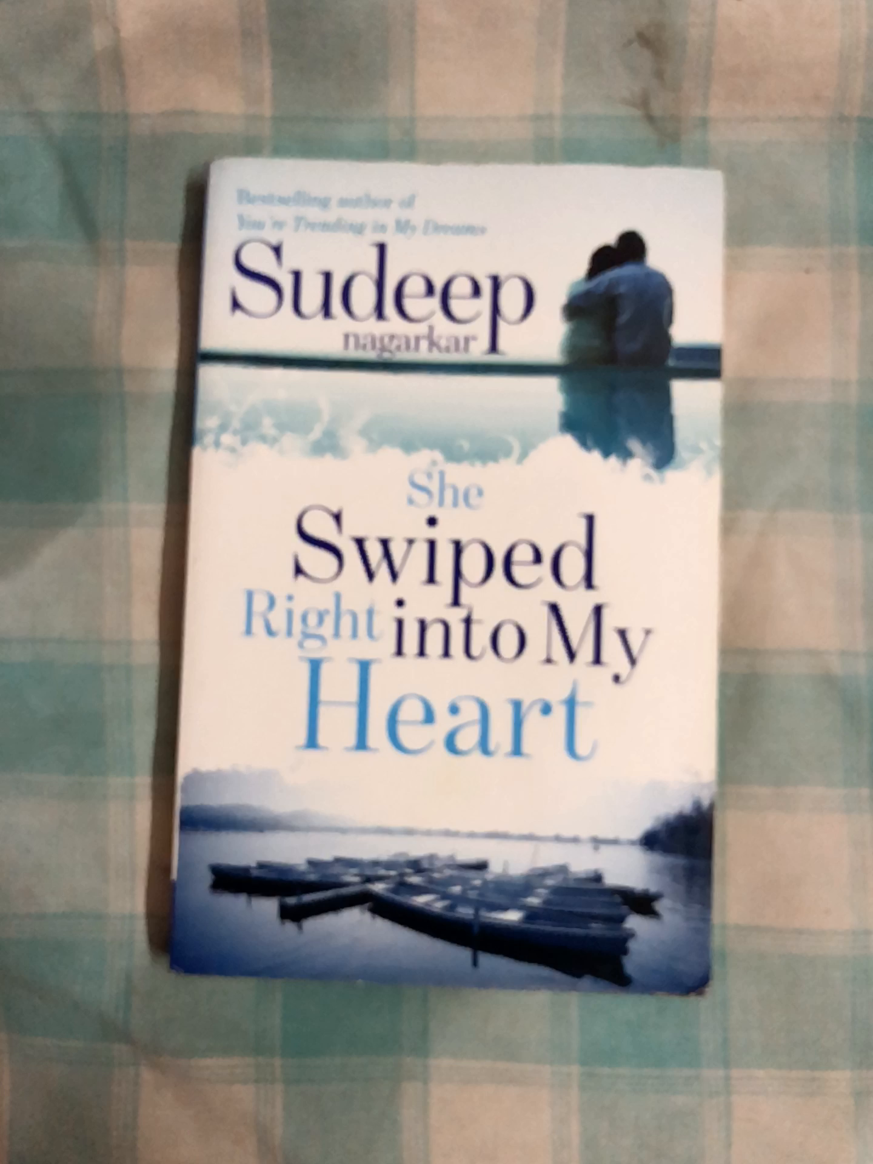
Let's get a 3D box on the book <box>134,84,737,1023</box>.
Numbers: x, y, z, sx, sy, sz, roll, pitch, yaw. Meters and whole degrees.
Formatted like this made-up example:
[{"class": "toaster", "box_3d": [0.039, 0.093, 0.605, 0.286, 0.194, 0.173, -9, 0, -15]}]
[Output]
[{"class": "book", "box_3d": [0.001, -0.008, 0.241, 0.130, 0.030, 0.210, 2, 88, 1]}]
